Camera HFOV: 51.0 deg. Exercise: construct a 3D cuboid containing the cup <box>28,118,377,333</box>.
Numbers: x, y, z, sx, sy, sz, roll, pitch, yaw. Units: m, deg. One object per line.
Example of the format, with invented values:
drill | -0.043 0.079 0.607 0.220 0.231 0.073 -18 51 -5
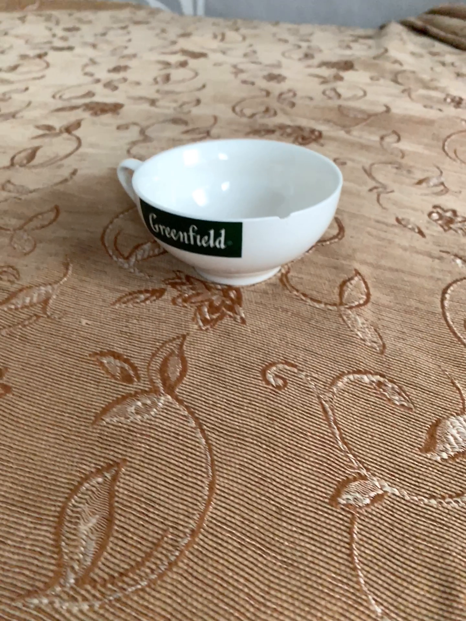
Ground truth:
cup | -0.010 -0.056 0.259 0.140 0.040 0.111 18 40 20
